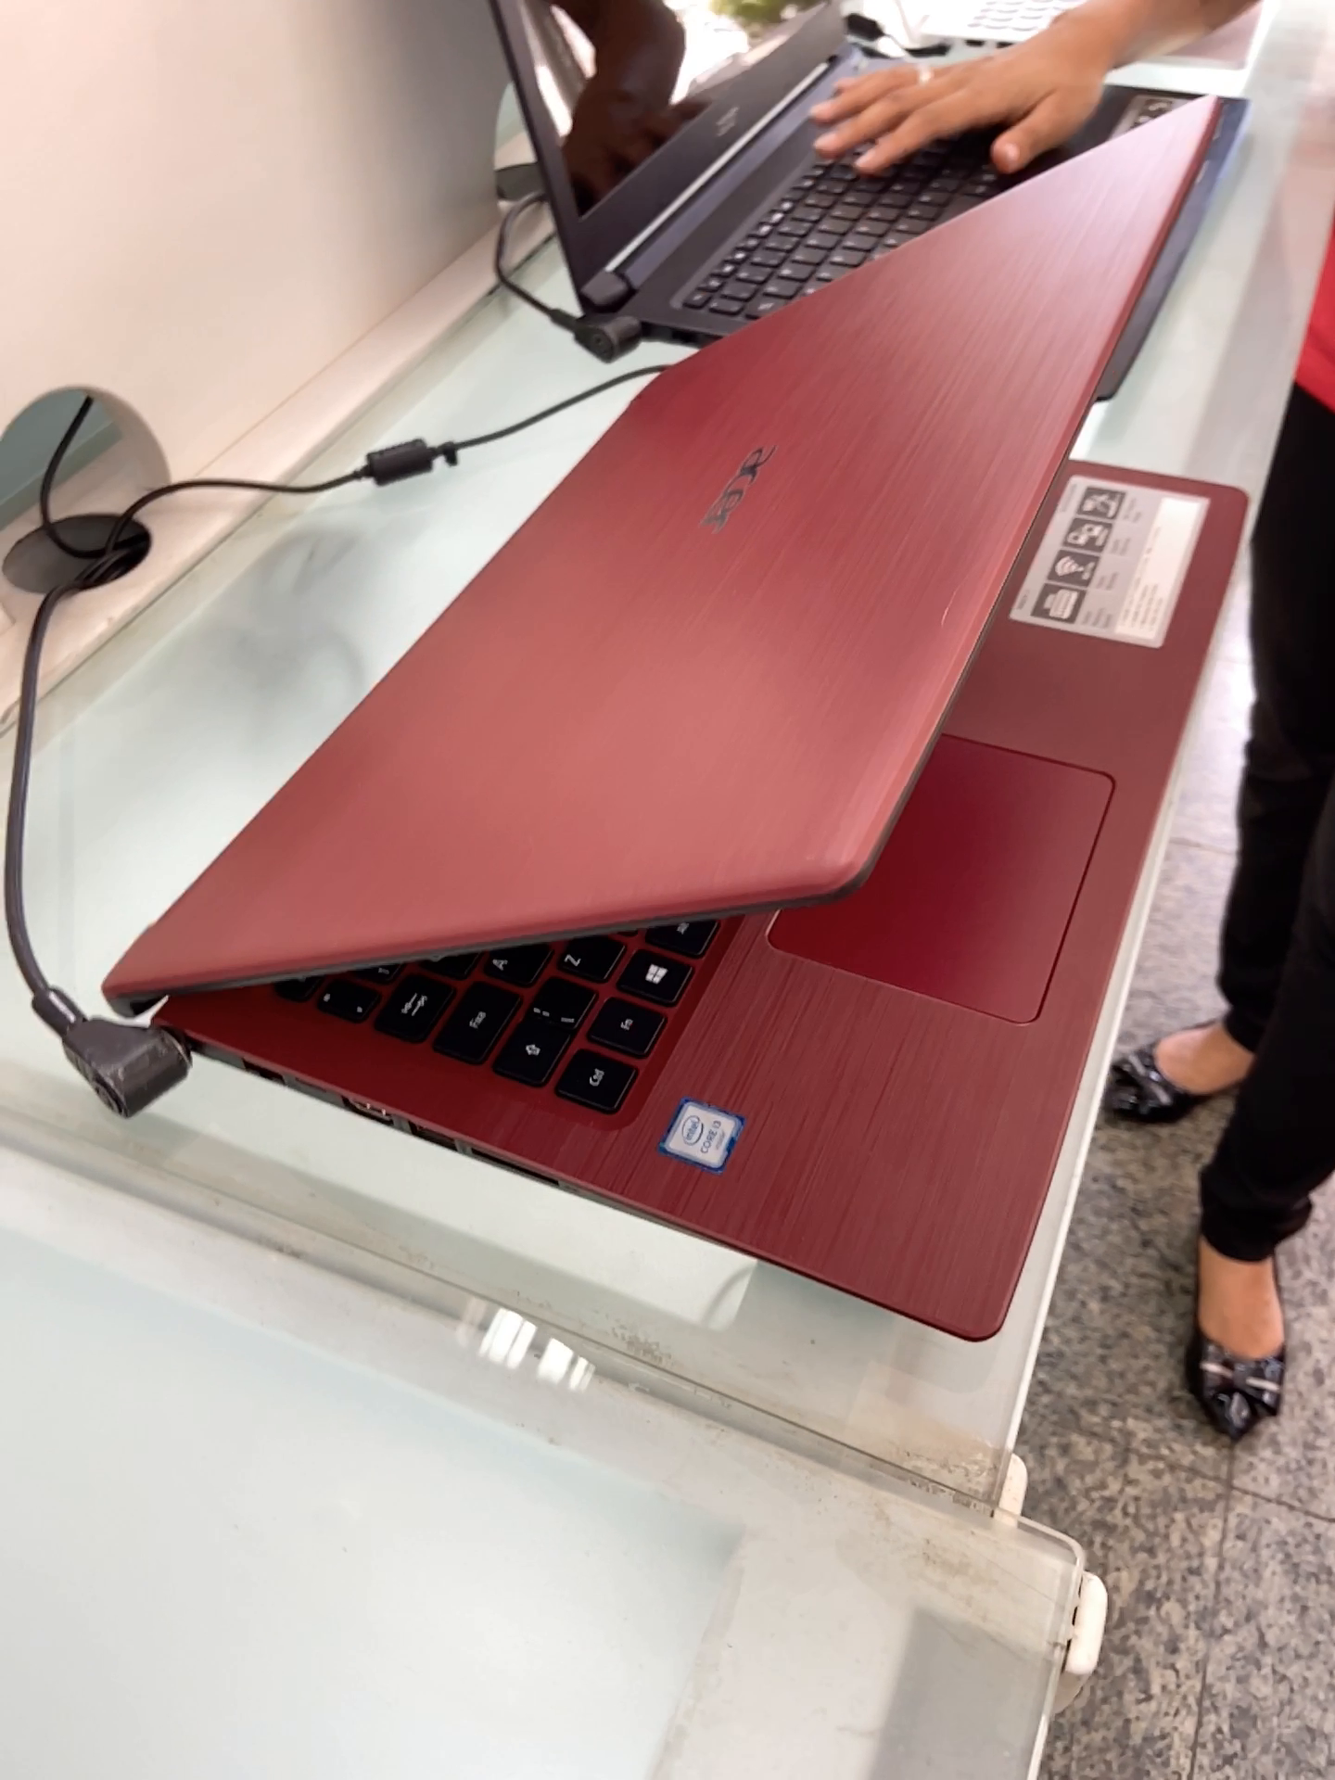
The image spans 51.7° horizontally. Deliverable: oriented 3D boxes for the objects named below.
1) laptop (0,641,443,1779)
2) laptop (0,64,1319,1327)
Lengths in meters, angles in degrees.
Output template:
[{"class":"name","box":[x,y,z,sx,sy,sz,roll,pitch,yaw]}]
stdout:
[{"class":"laptop","box":[-0.279,0.213,0.067,0.377,0.215,0.355,17,48,18]},{"class":"laptop","box":[0.035,-0.108,0.417,0.236,0.132,0.381,16,49,18]}]
